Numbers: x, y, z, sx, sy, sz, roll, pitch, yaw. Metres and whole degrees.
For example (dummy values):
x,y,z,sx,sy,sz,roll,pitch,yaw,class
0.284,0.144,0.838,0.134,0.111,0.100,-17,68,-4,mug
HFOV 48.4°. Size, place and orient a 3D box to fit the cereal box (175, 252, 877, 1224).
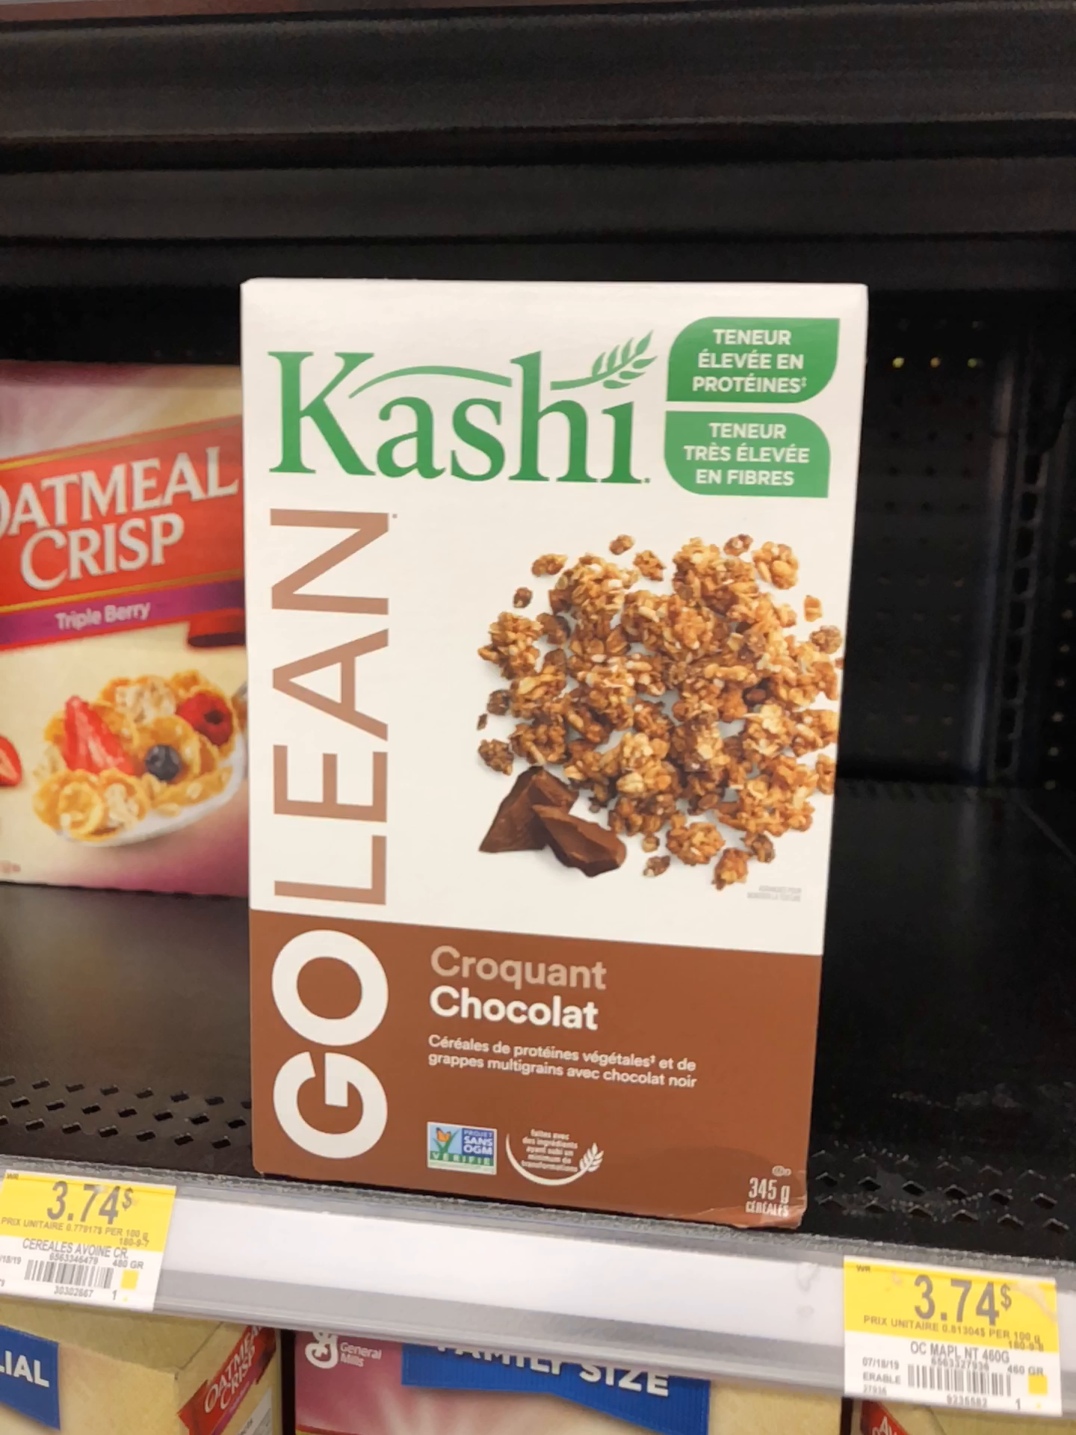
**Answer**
x,y,z,sx,sy,sz,roll,pitch,yaw,class
-0.005,0.006,0.335,0.170,0.249,0.050,3,11,8,cereal box
